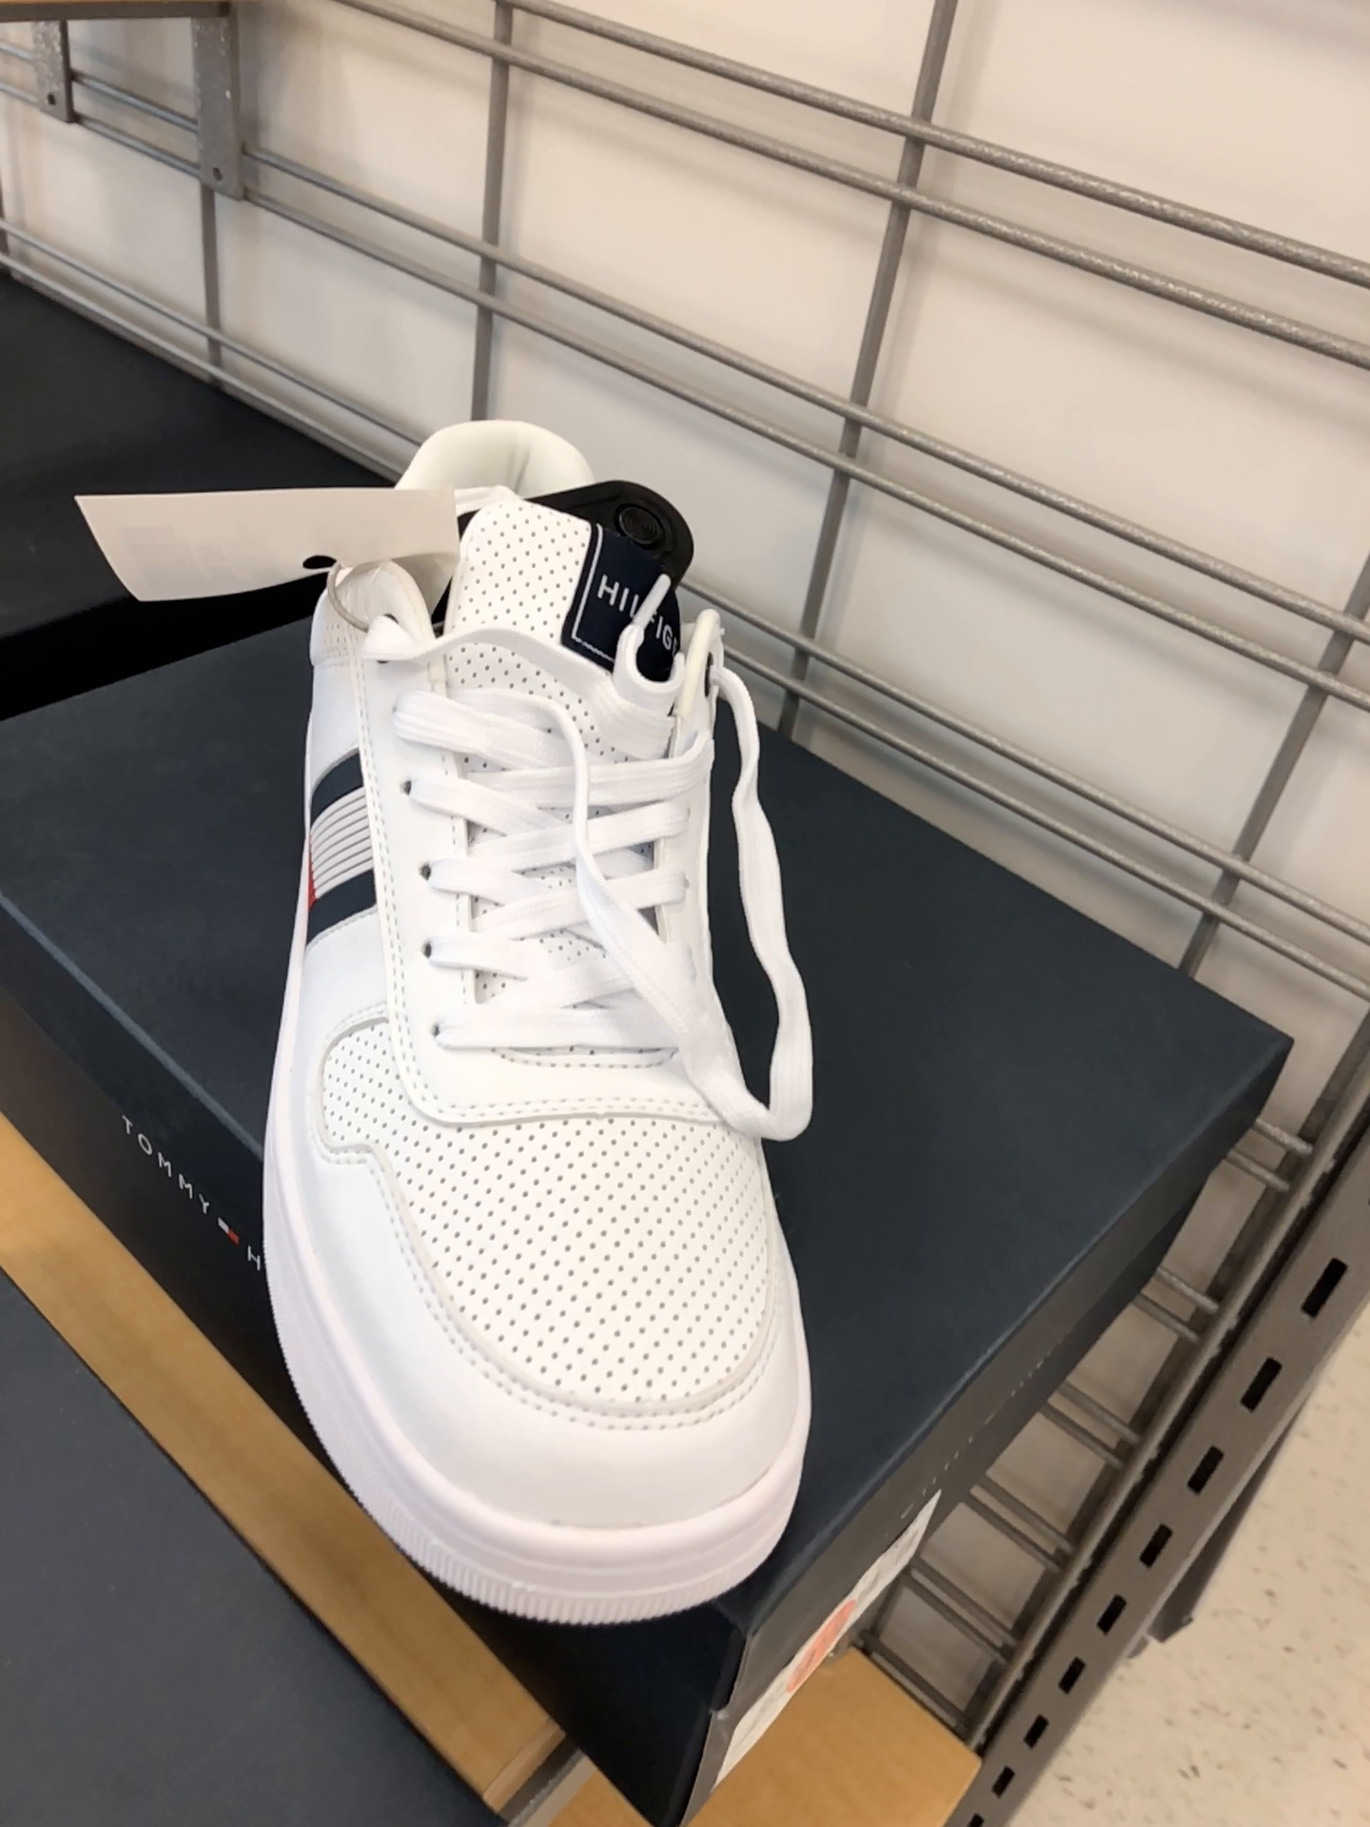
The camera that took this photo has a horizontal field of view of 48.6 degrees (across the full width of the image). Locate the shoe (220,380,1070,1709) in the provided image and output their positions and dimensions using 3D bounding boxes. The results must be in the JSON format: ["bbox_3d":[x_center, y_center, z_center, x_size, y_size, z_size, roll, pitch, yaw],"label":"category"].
[{"bbox_3d":[-0.039,-0.005,0.329,0.110,0.109,0.282,-1,40,-15],"label":"shoe"}]
